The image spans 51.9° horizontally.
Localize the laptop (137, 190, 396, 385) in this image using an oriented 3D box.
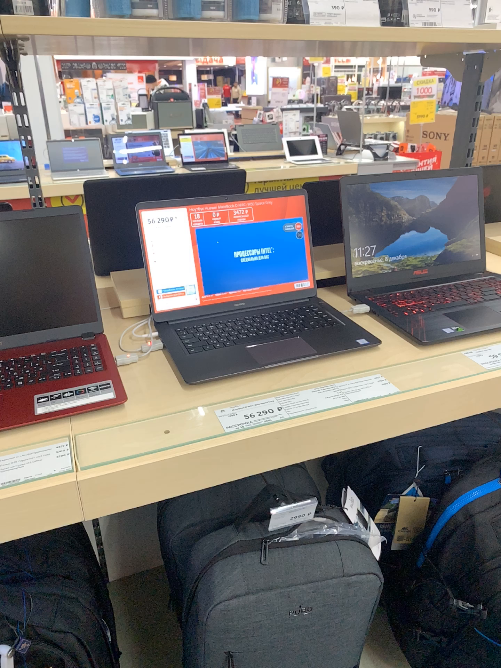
[{"bbox_3d":[0.011,-0.110,0.916,0.348,0.209,0.304,-10,27,-20],"label":"laptop"}]
